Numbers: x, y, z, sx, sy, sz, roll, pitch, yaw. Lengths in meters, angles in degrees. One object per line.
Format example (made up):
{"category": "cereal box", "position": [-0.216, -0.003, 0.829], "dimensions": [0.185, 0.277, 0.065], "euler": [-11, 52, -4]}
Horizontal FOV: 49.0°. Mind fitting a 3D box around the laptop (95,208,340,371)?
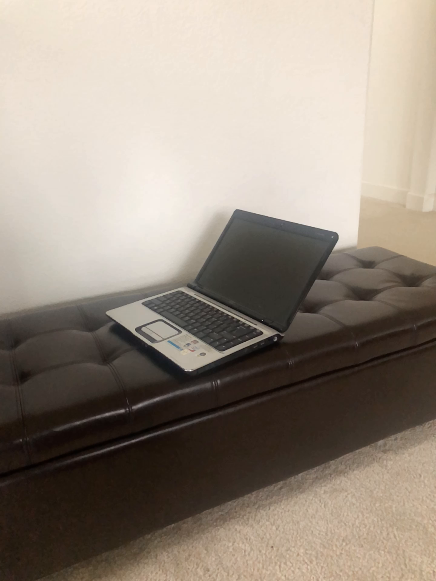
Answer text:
{"category": "laptop", "position": [-0.001, -0.036, 1.002], "dimensions": [0.381, 0.161, 0.327], "euler": [-19, 27, -34]}
